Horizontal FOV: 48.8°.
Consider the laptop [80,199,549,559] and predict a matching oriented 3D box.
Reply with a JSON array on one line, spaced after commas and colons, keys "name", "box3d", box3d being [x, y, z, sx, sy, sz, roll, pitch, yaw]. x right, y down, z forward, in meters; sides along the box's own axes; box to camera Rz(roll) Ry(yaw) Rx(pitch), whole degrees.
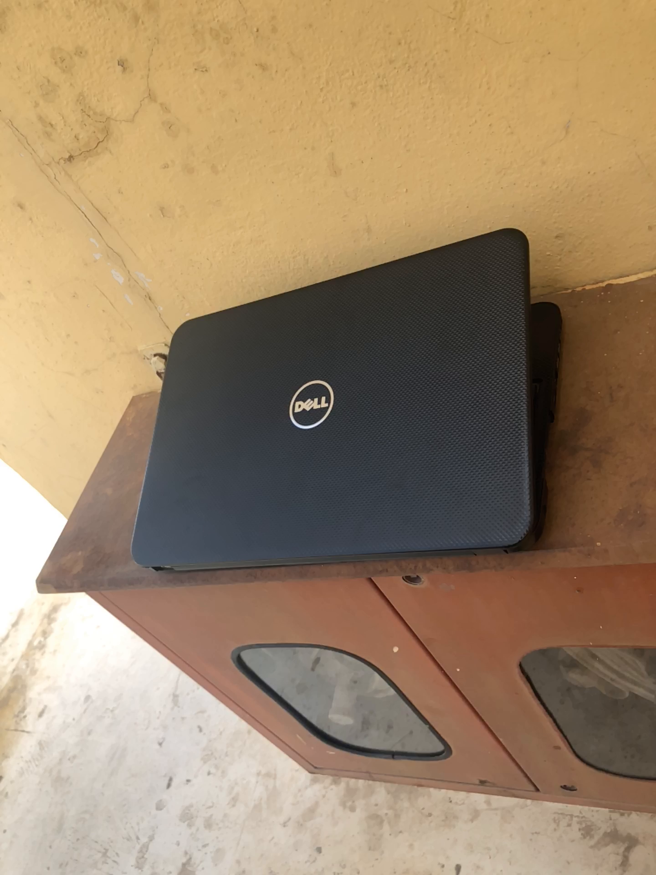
[{"name": "laptop", "box3d": [-0.018, -0.027, 0.578, 0.353, 0.098, 0.183, -9, 53, 32]}]
